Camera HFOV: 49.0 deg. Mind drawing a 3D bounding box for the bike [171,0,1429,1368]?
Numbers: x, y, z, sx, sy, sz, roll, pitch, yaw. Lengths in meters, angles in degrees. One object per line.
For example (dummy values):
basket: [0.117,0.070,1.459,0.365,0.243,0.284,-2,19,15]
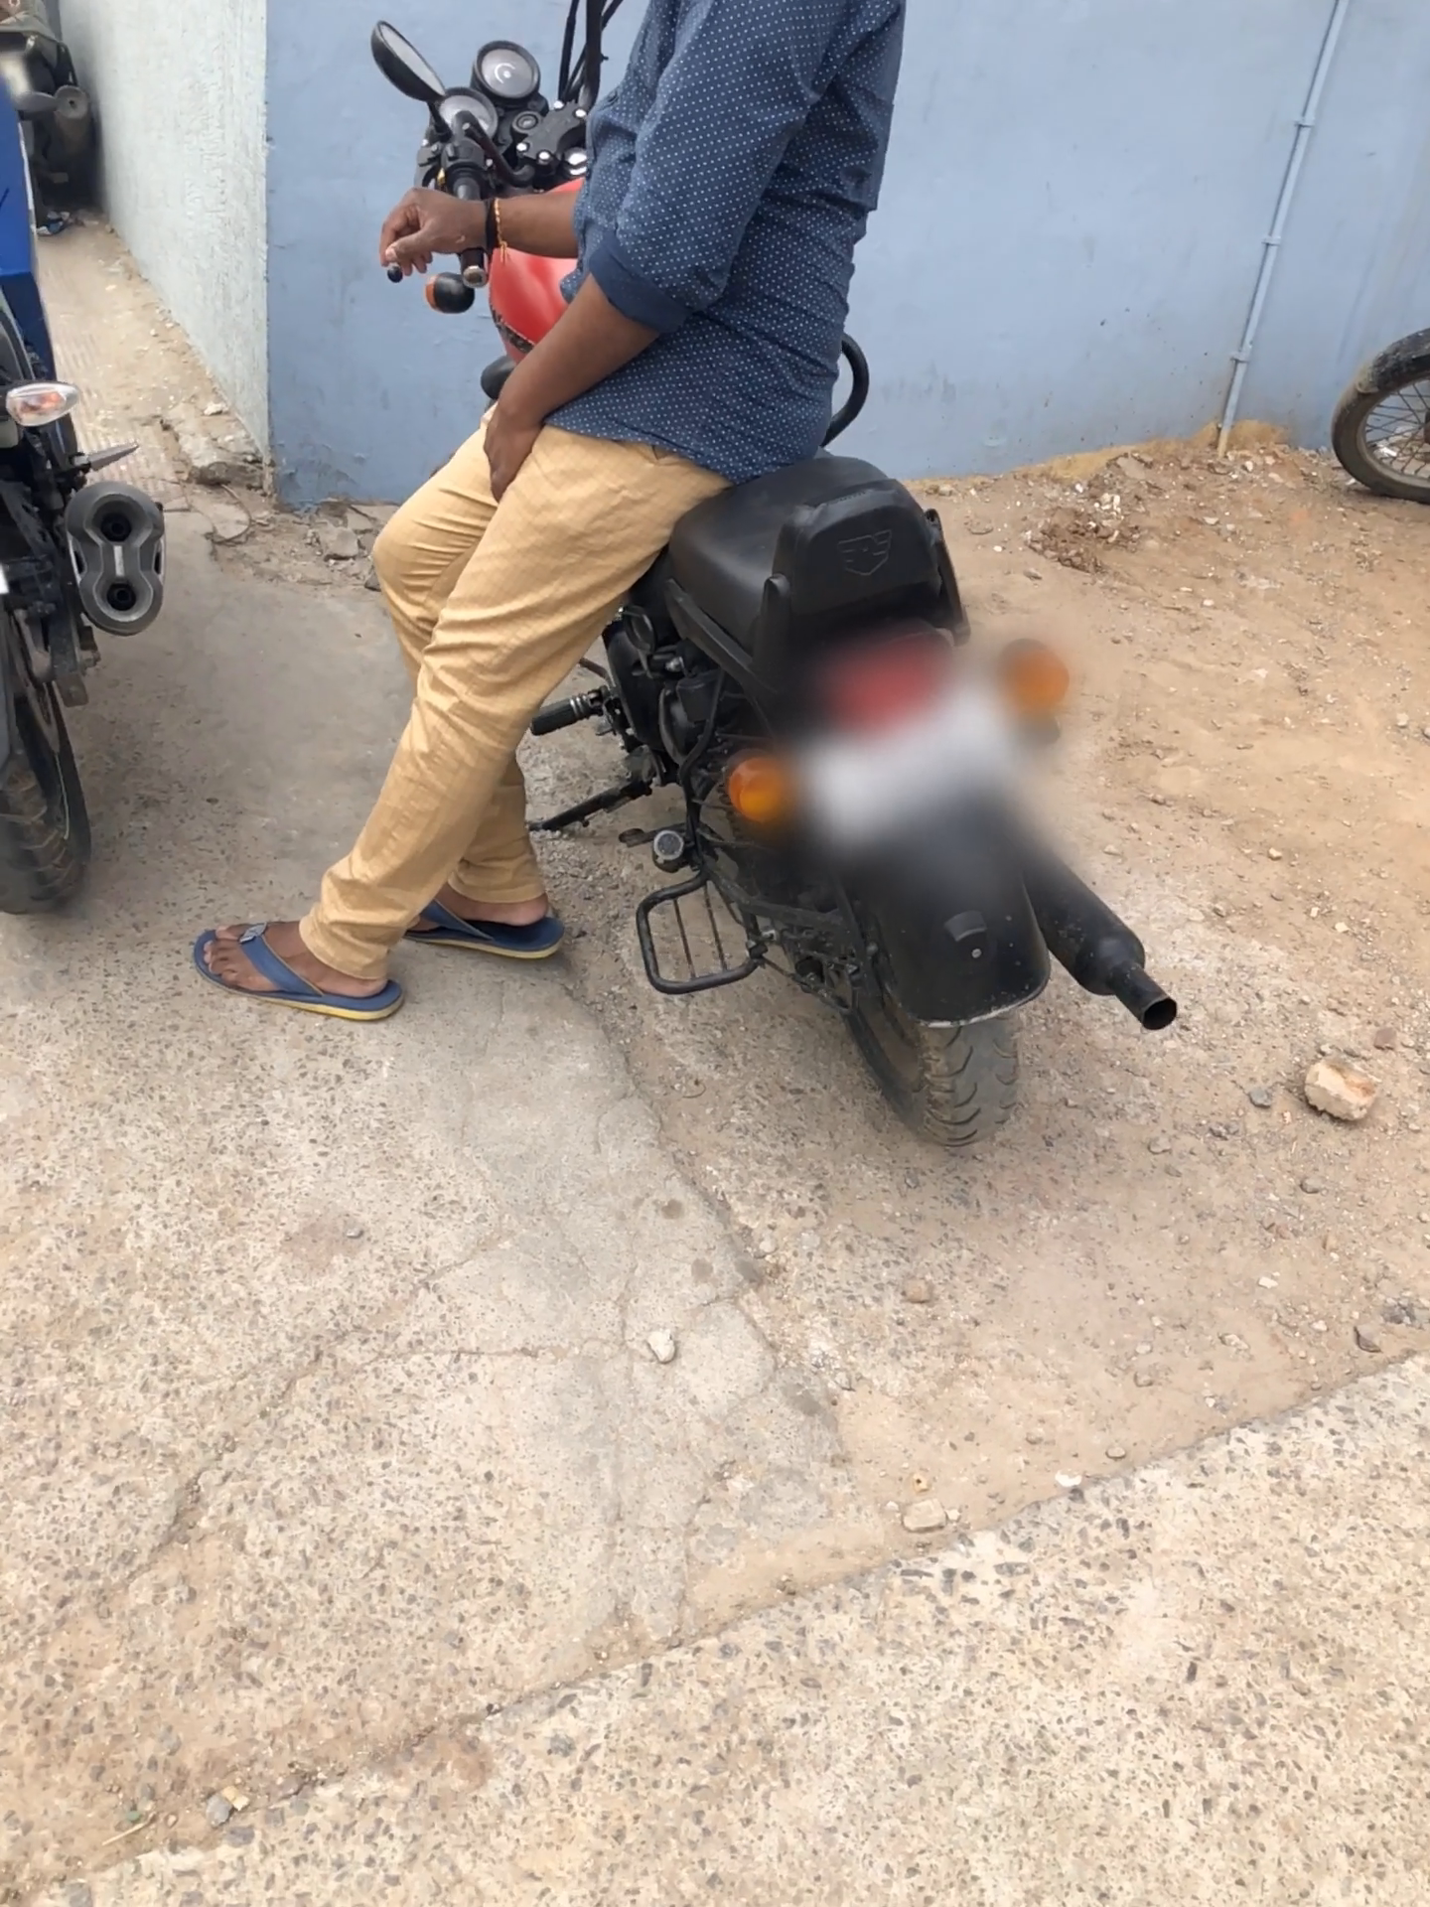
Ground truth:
bike: [-0.125,-0.691,1.863,0.779,1.245,1.544,-6,41,-22]
